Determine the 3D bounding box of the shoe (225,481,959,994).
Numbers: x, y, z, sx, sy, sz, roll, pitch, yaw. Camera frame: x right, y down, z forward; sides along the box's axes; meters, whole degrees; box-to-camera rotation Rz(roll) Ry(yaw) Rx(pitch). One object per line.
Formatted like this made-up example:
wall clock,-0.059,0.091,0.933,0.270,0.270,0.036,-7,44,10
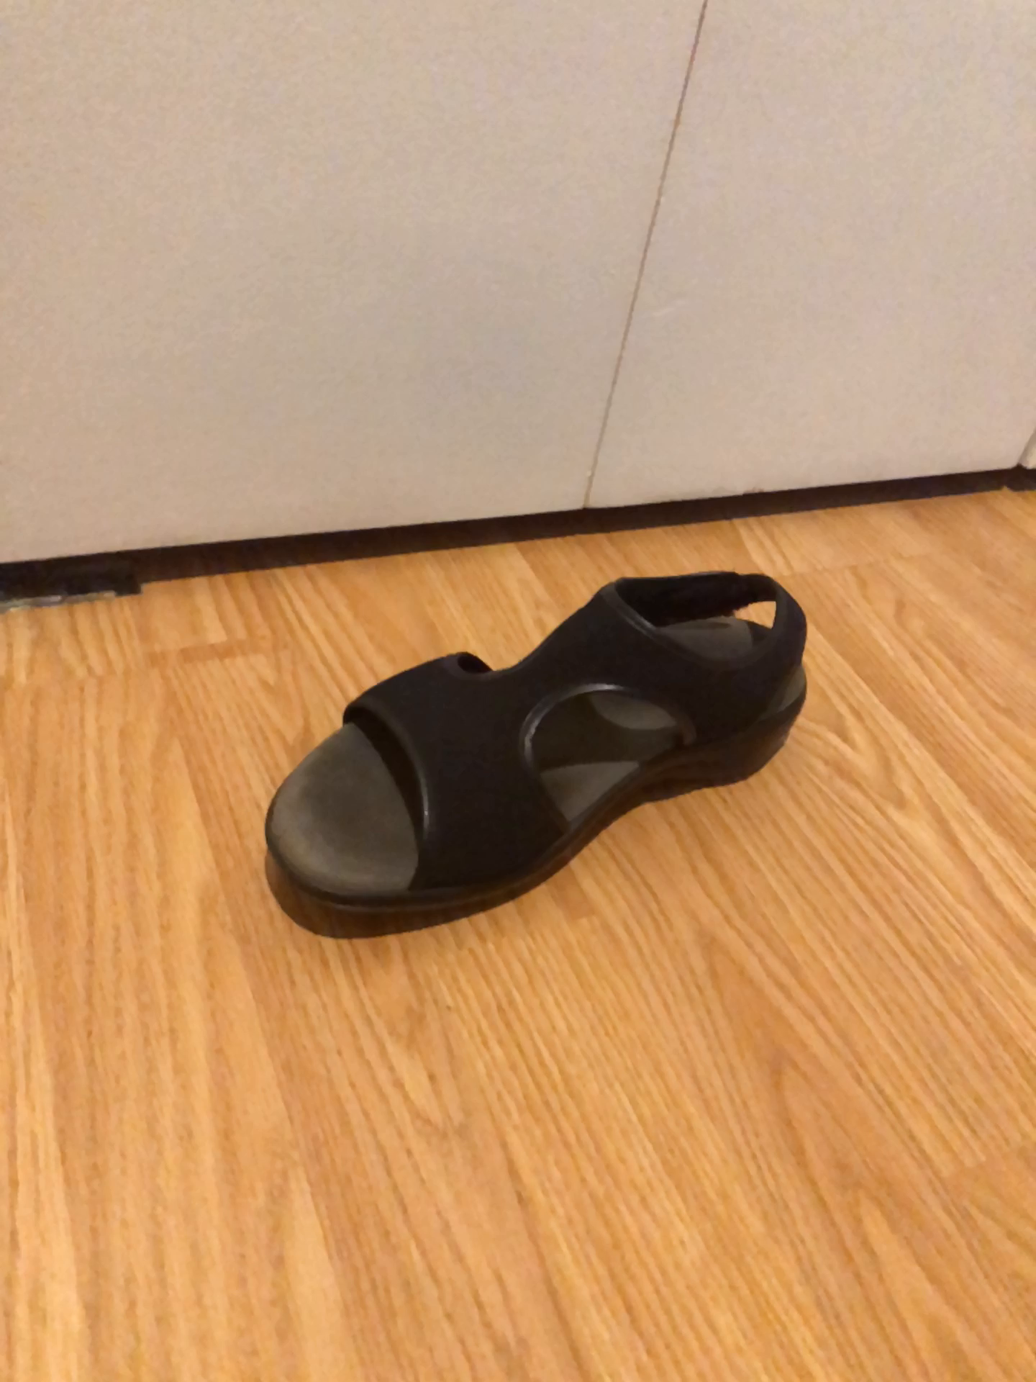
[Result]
shoe,0.028,0.004,0.438,0.250,0.100,0.100,-14,47,-29
